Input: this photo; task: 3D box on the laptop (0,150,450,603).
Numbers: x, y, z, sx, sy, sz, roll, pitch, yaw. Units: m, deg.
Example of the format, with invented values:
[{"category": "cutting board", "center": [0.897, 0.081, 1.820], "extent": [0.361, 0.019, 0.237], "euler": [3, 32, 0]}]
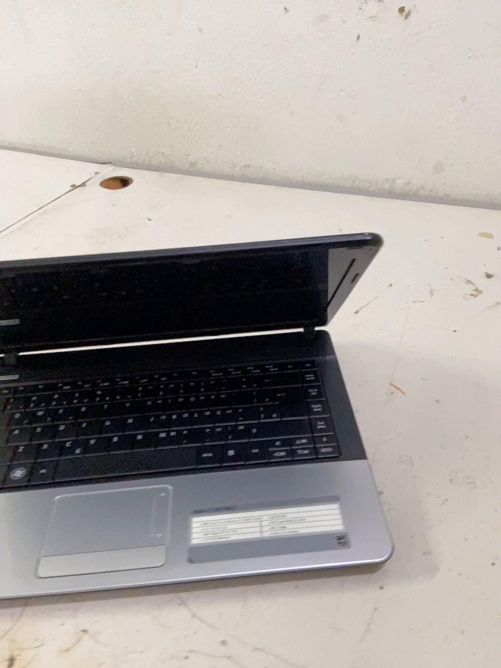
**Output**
[{"category": "laptop", "center": [-0.084, 0.013, 0.371], "extent": [0.334, 0.184, 0.239], "euler": [-5, 39, -2]}]
